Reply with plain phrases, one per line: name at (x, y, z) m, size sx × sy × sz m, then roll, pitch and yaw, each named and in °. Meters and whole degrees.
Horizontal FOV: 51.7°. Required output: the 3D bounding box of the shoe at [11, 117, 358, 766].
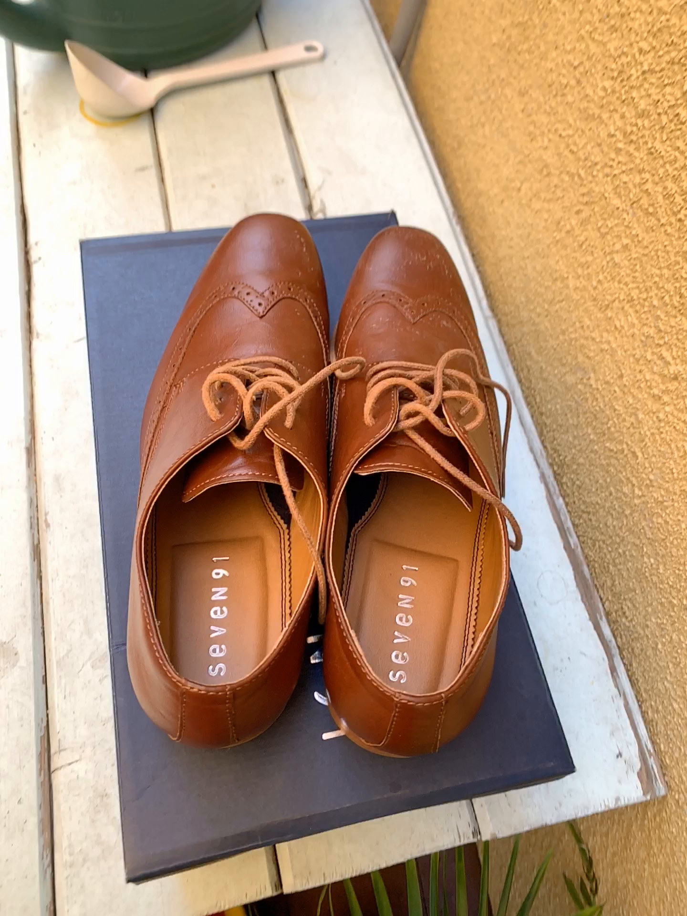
shoe at (-0.056, -0.017, 0.350) m, size 0.104 × 0.099 × 0.302 m, roll 5°, pitch 63°, yaw -4°

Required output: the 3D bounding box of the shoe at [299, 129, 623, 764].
shoe at (0.046, -0.015, 0.359) m, size 0.110 × 0.099 × 0.302 m, roll 5°, pitch 63°, yaw -4°
